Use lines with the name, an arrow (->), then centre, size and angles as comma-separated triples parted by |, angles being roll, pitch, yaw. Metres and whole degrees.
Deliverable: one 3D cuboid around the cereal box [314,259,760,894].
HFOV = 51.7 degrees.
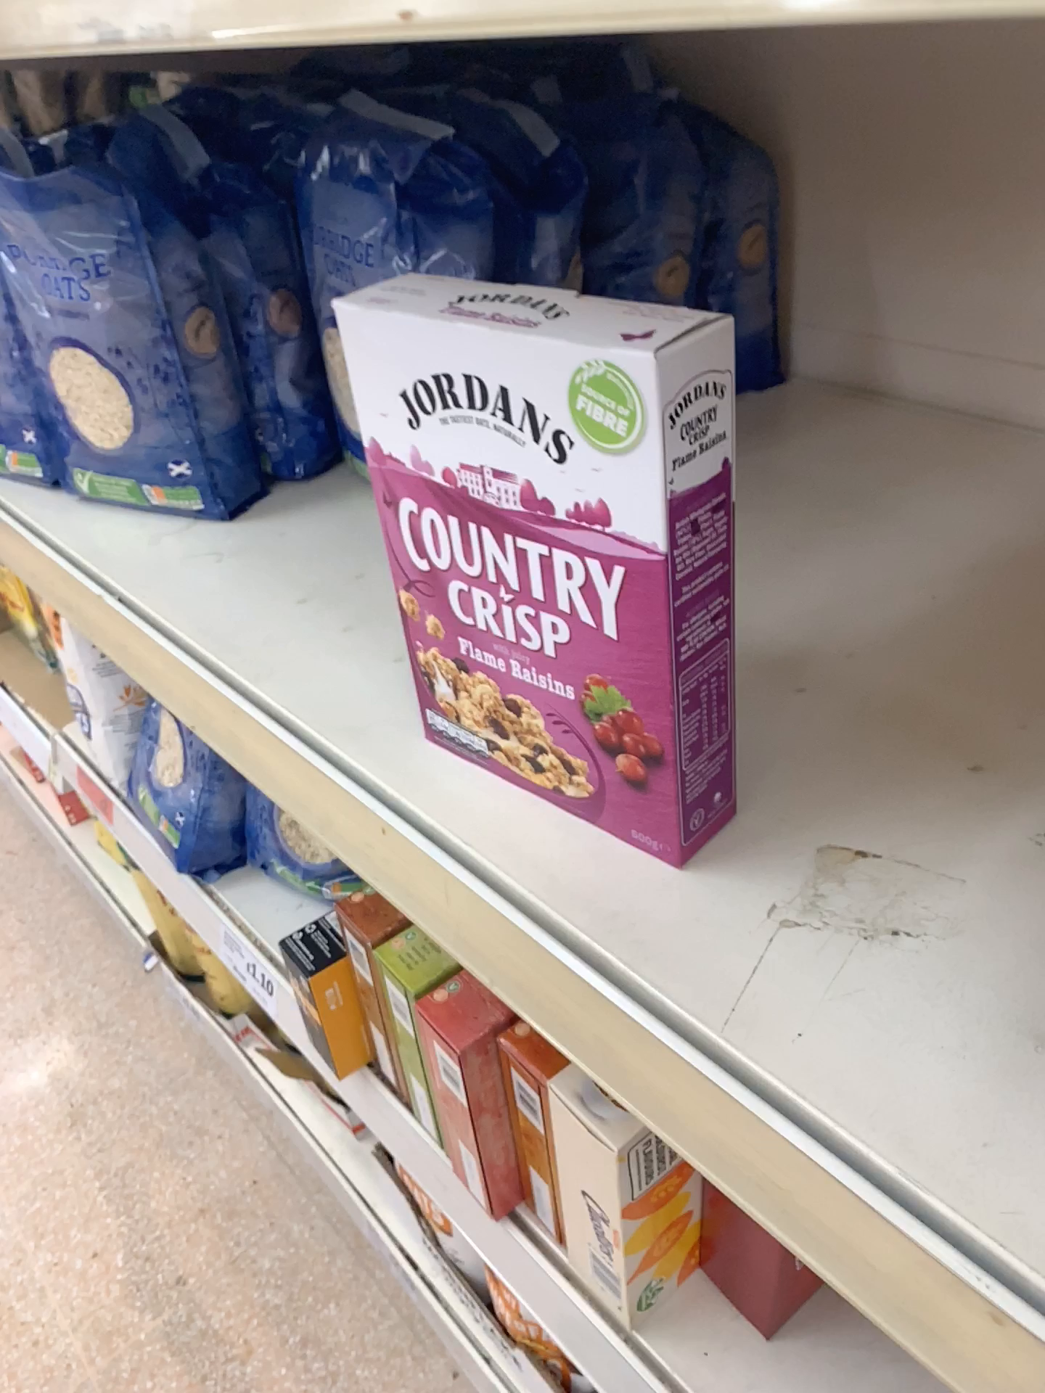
cereal box -> 0.009, -0.058, 0.511 | 0.201, 0.257, 0.050 | 24, 44, 37
